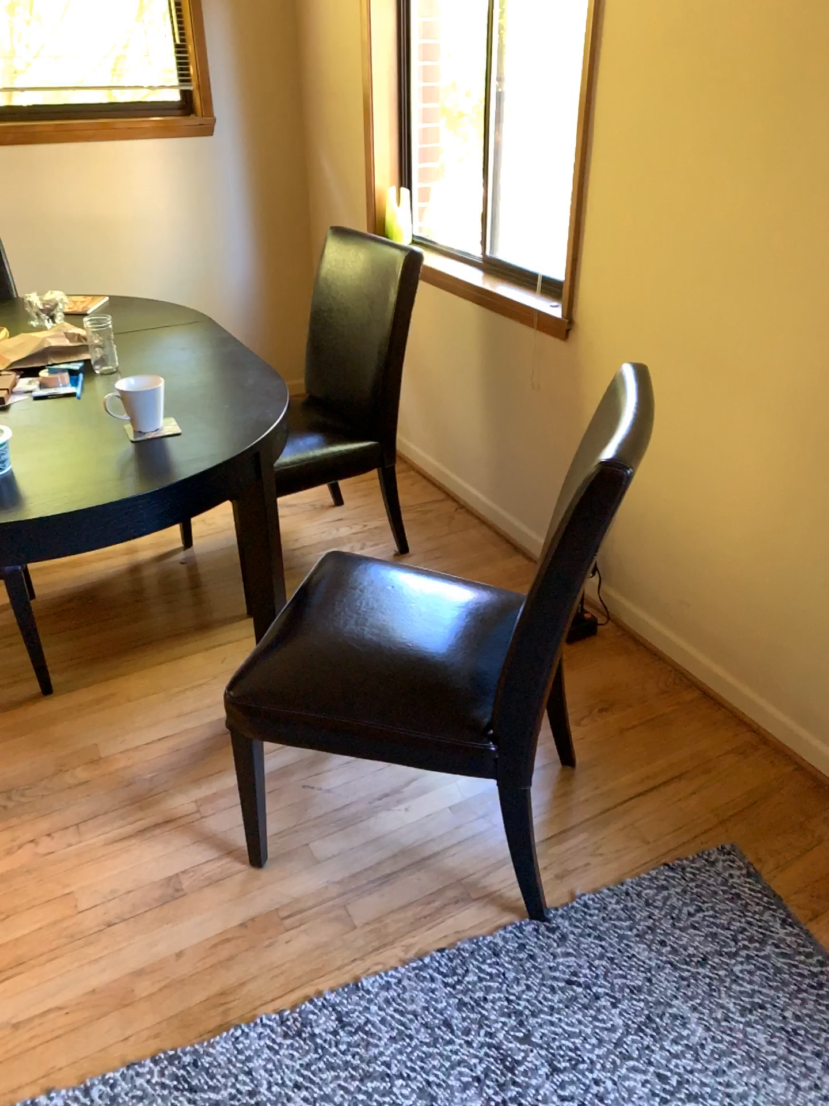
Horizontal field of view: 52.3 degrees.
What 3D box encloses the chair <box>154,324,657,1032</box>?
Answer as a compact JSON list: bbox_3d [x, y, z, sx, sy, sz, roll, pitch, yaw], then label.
[{"bbox_3d":[0.046,0.212,1.604,0.651,1.083,0.623,7,31,13],"label":"chair"}]
